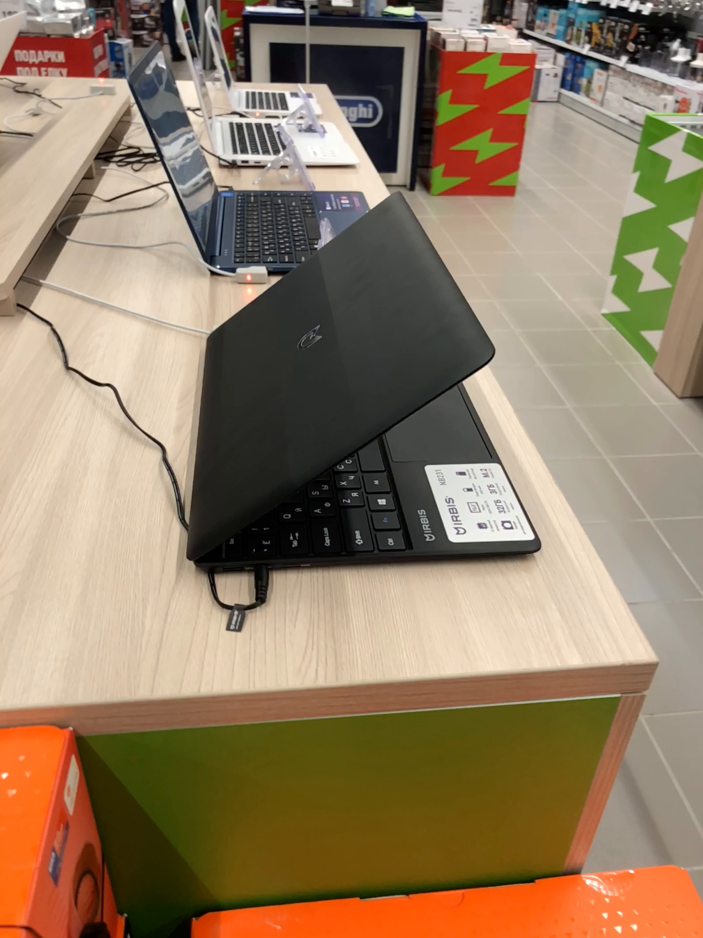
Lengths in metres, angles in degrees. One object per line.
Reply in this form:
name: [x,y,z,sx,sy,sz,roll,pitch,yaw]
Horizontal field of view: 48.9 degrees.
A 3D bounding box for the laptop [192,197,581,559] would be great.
laptop: [0.002,-0.088,0.559,0.203,0.132,0.300,-1,34,-6]
